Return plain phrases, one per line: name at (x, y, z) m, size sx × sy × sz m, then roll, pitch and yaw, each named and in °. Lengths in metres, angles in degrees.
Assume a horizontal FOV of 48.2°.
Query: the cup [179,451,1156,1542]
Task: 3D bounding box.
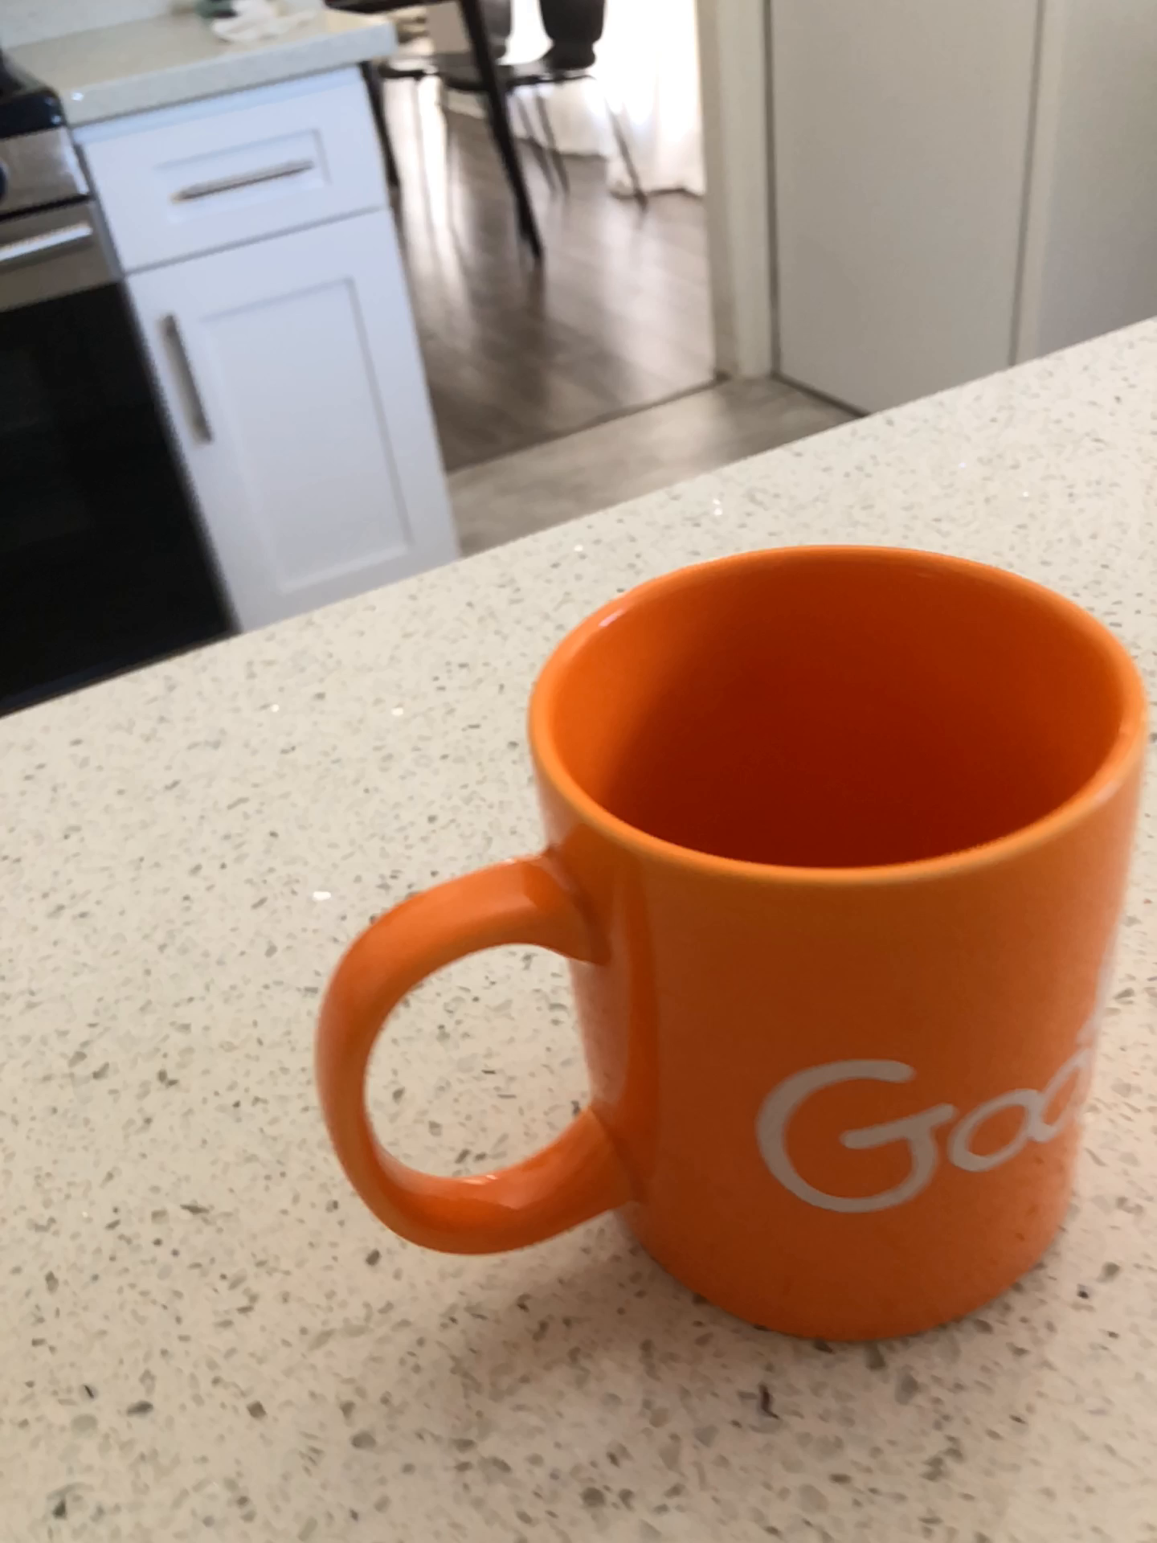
cup at (0.025, 0.030, 0.197) m, size 0.130 × 0.101 × 0.090 m, roll -19°, pitch 37°, yaw -14°
